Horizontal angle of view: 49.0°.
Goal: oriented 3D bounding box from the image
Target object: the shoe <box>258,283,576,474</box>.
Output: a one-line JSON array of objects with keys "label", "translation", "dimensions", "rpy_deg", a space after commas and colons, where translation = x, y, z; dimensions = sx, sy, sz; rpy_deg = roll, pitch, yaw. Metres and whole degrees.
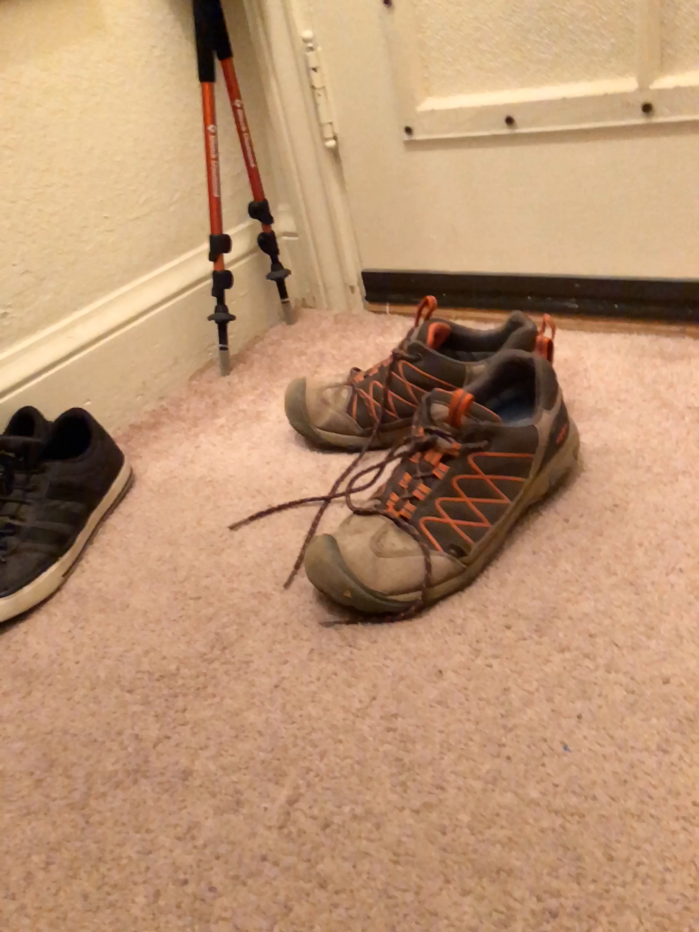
[{"label": "shoe", "translation": [0.077, -0.090, 0.811], "dimensions": [0.300, 0.129, 0.121], "rpy_deg": [-4, 34, 15]}]

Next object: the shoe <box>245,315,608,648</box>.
[{"label": "shoe", "translation": [0.074, -0.001, 0.634], "dimensions": [0.271, 0.129, 0.120], "rpy_deg": [-30, 36, -24]}]
